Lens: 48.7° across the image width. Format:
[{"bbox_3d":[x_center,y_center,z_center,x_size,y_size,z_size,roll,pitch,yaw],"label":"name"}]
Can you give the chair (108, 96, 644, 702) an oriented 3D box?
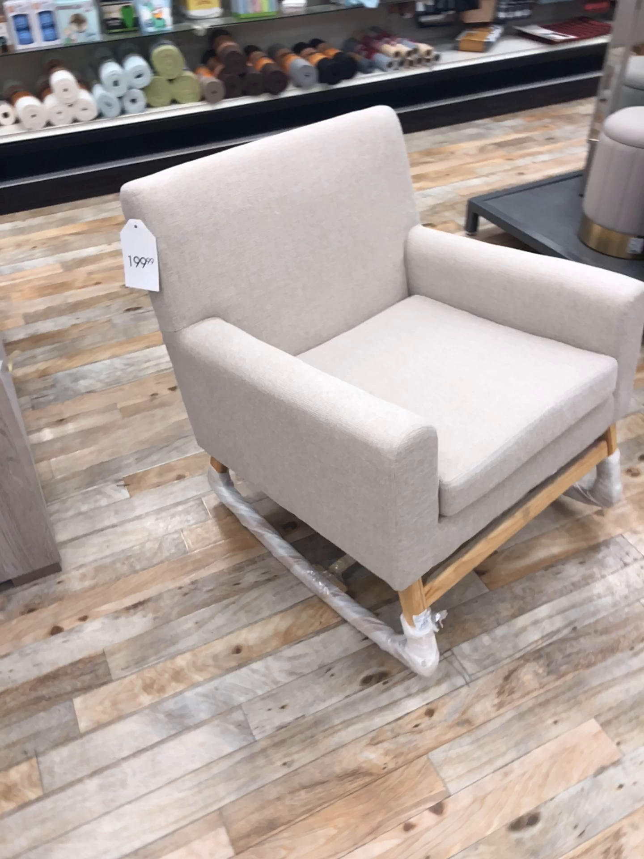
[{"bbox_3d":[0.147,-0.128,1.396,0.701,0.707,0.742,-30,48,-29],"label":"chair"}]
